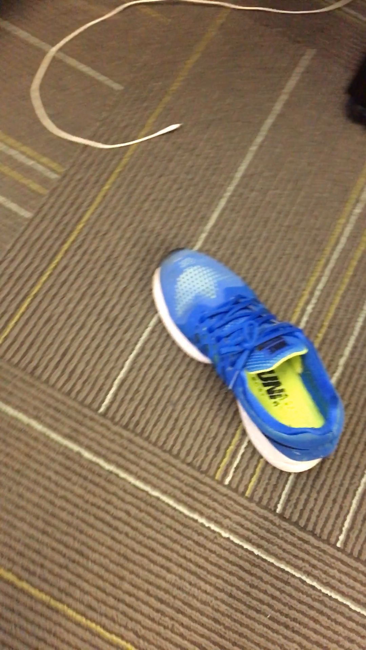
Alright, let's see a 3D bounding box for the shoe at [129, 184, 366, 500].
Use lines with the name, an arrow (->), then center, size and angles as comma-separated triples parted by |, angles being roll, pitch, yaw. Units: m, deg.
shoe -> 0.070, 0.027, 0.607 | 0.110, 0.150, 0.310 | -30, 79, -15
